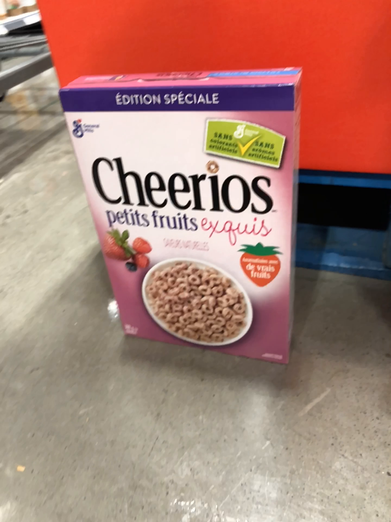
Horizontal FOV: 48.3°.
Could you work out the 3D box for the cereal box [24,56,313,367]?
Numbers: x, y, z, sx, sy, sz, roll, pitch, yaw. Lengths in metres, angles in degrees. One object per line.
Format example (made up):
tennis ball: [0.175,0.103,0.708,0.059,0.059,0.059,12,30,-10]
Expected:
cereal box: [-0.011,-0.035,0.420,0.220,0.279,0.060,7,38,19]
